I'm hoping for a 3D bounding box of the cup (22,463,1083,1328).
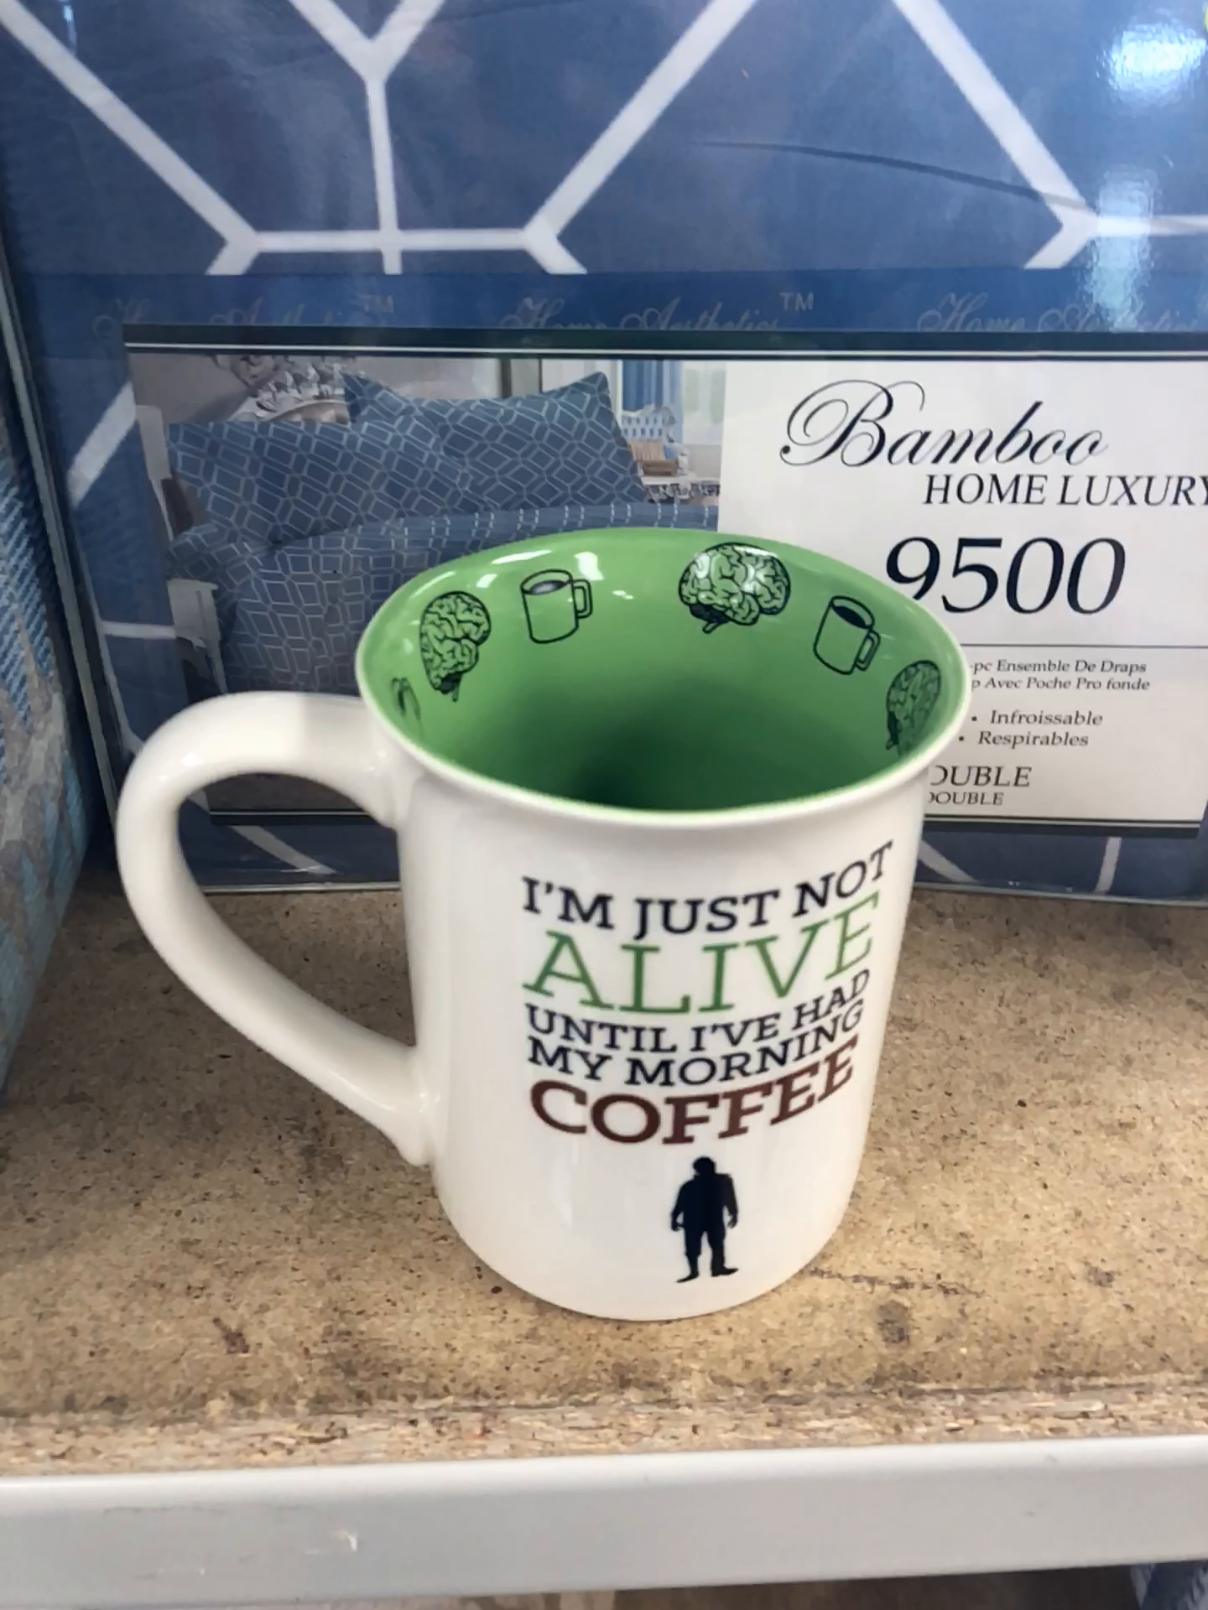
[{"bbox_3d":[-0.008,0.014,0.251,0.138,0.124,0.100,-1,33,-2],"label":"cup"}]
